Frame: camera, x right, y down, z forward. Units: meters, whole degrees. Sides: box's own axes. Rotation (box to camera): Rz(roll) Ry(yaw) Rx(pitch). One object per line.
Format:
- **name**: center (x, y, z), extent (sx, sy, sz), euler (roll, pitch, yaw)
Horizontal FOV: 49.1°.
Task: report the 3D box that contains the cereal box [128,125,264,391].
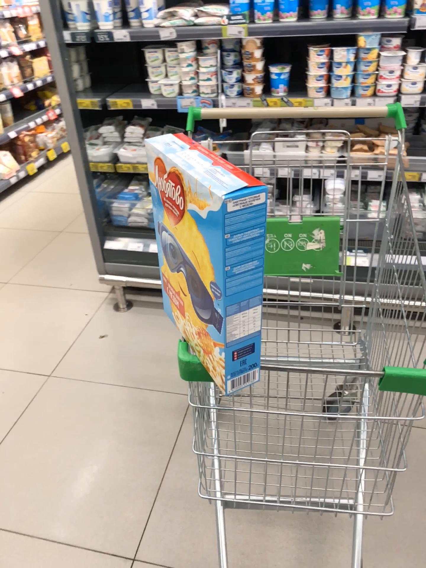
- **cereal box**: center (-0.022, -0.036, 0.560), extent (0.060, 0.248, 0.201), euler (-18, 37, -22)
